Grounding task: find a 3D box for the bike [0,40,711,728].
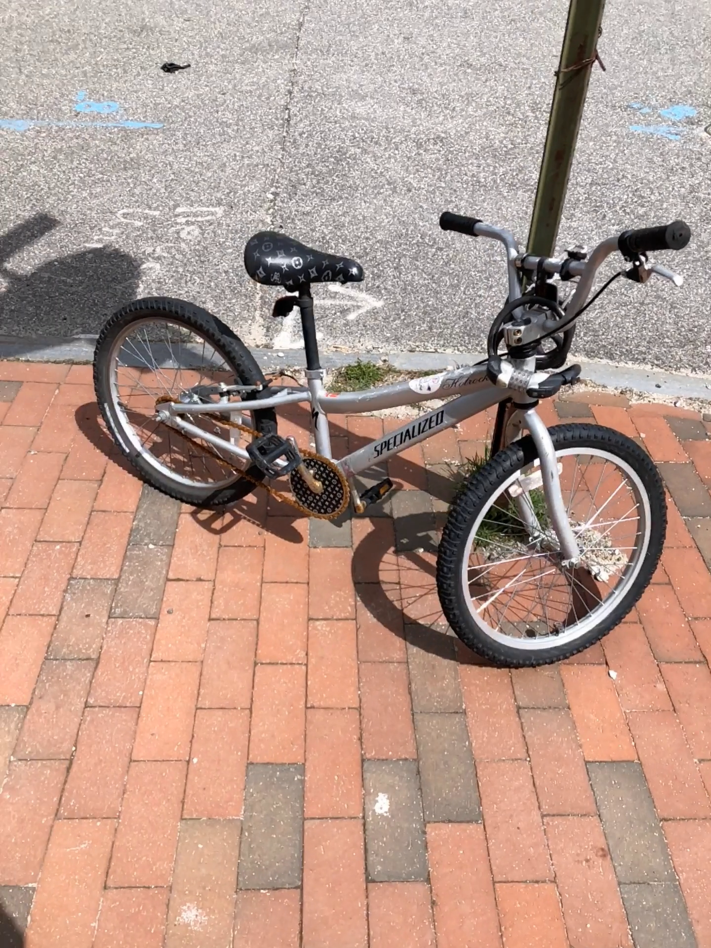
[{"bbox_3d":[0.006,-0.226,1.482,1.208,0.831,0.720,15,42,14],"label":"bike"}]
